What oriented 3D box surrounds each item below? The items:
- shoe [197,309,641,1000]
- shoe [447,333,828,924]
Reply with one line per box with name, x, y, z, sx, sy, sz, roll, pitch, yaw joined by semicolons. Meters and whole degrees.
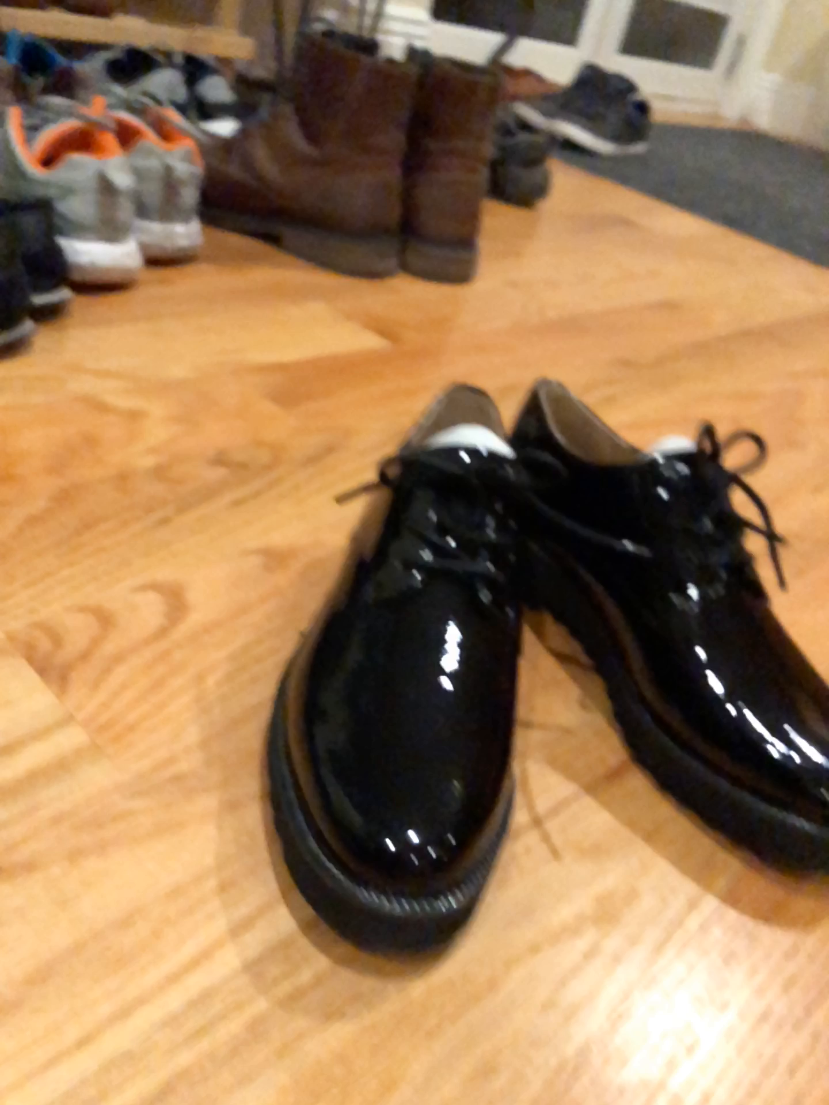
shoe;0.010;0.009;0.343;0.095;0.101;0.252;14;33;-1
shoe;0.121;0.008;0.395;0.095;0.101;0.252;-4;37;-27
